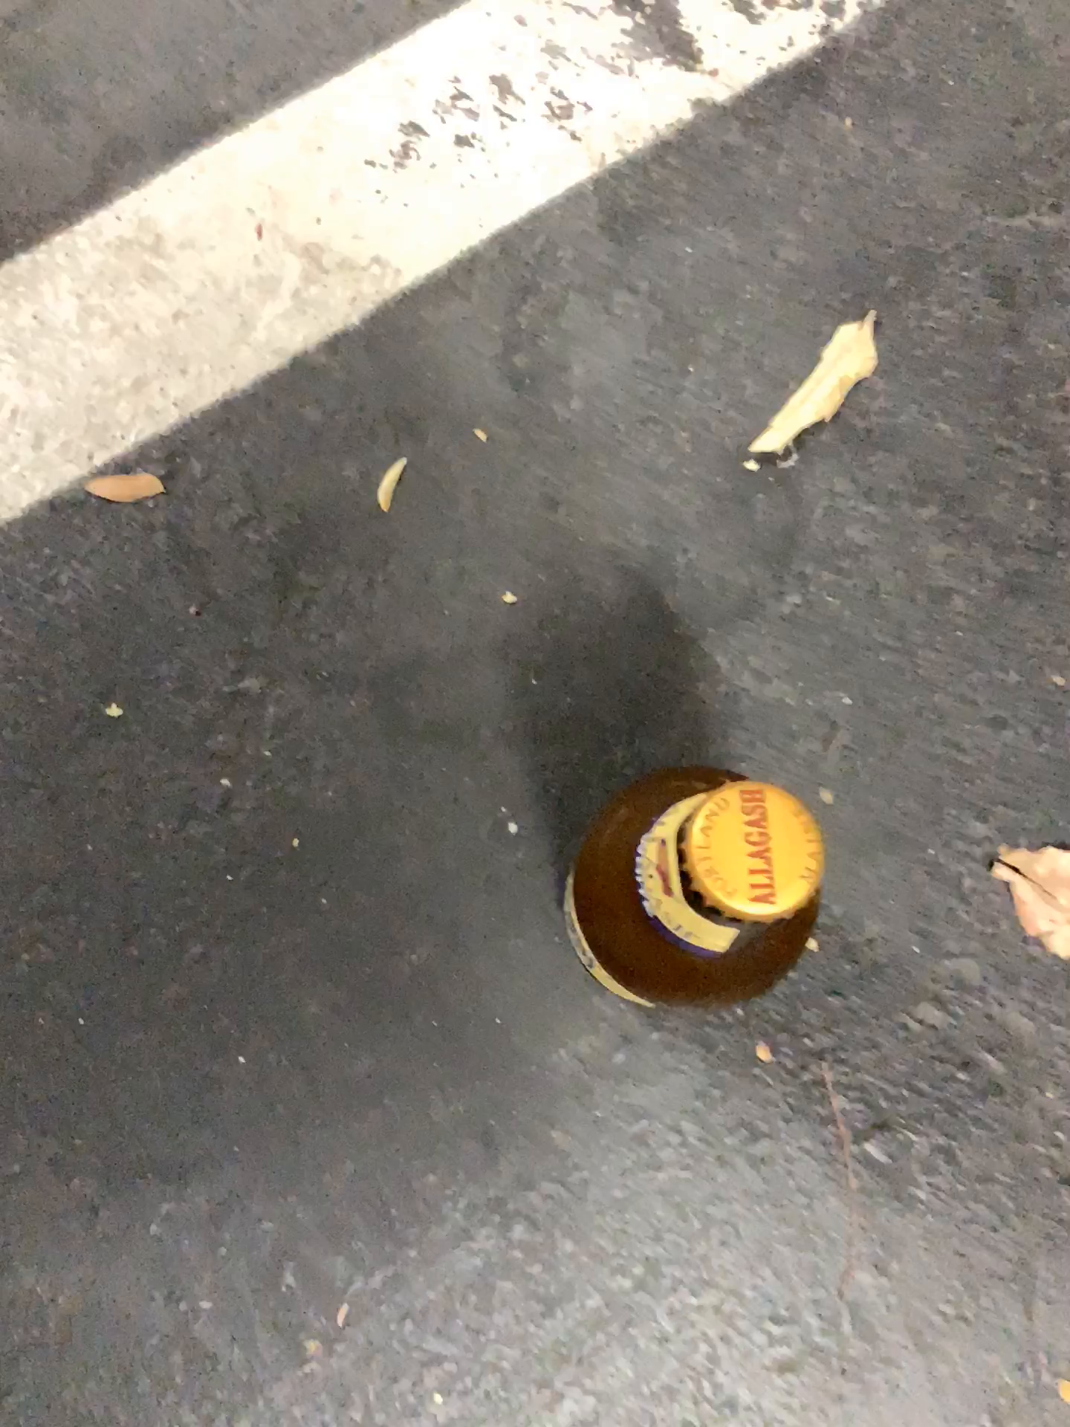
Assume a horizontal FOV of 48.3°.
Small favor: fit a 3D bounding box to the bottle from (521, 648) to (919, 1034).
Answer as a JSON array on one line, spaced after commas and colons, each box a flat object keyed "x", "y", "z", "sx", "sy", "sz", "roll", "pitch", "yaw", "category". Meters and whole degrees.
[{"x": 0.039, "y": 0.046, "z": 0.331, "sx": 0.070, "sy": 0.190, "sz": 0.070, "roll": 0, "pitch": 77, "yaw": 2, "category": "bottle"}]
